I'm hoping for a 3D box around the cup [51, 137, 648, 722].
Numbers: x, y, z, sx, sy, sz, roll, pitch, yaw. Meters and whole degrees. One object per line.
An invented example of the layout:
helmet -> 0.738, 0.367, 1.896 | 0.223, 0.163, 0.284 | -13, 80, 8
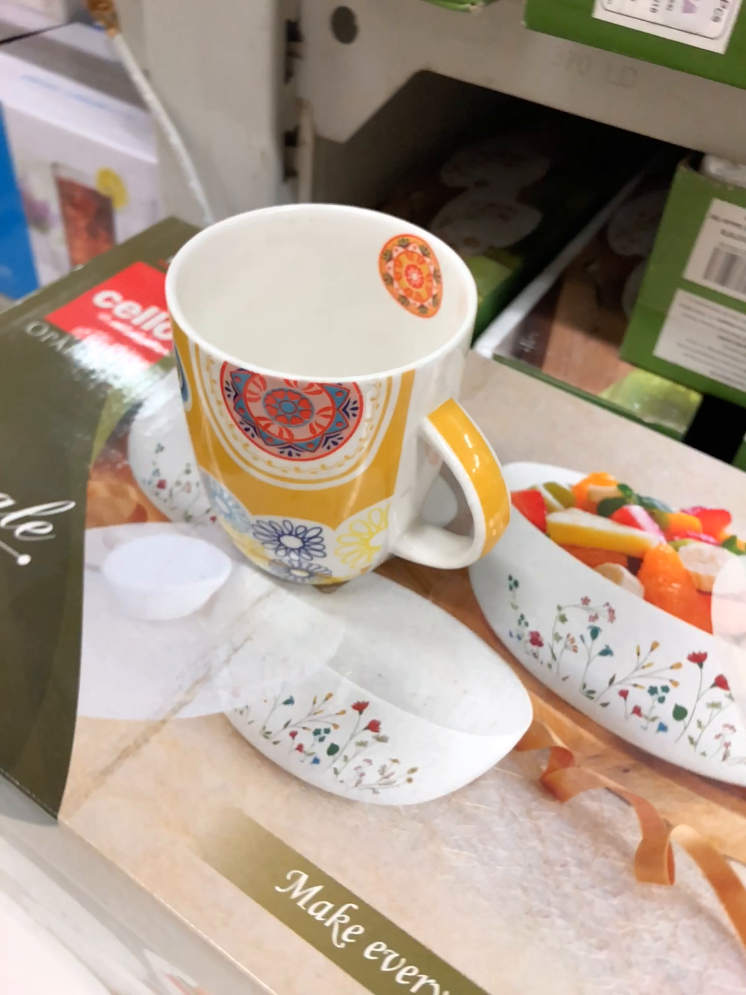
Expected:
cup -> -0.010, -0.026, 0.240 | 0.120, 0.089, 0.090 | 37, 52, 26
